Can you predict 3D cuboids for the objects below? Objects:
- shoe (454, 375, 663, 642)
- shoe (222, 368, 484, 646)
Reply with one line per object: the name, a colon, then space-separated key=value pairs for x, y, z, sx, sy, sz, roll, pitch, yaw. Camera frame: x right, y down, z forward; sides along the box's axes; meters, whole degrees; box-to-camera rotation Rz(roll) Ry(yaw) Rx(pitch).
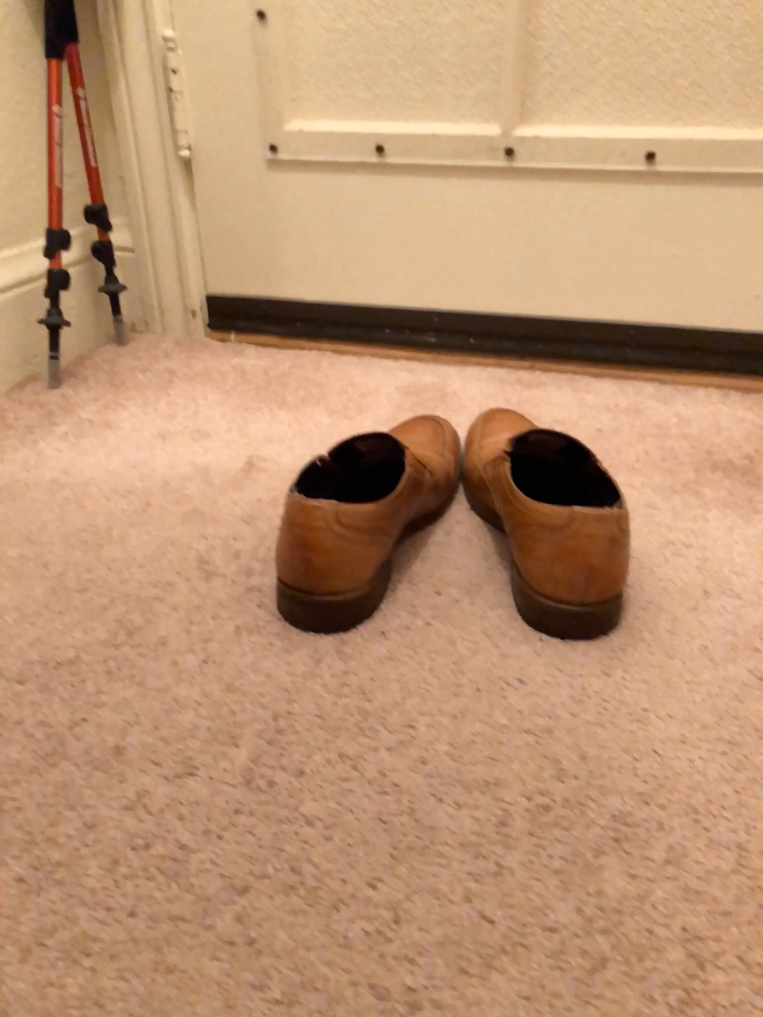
shoe: x=0.124 y=-0.019 z=0.683 sx=0.107 sy=0.089 sz=0.312 roll=-1 pitch=26 yaw=1
shoe: x=-0.004 y=-0.023 z=0.688 sx=0.100 sy=0.090 sz=0.322 roll=9 pitch=27 yaw=17
